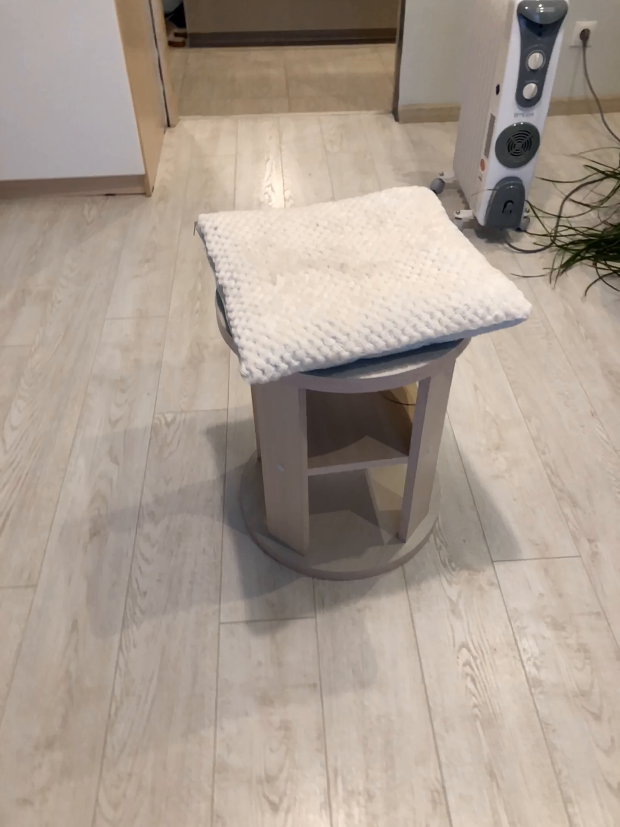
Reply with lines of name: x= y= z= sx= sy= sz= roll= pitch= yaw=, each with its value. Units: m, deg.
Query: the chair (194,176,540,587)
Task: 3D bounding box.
chair: x=0.062 y=-0.037 z=1.108 sx=0.400 sy=0.546 sz=0.383 roll=-1 pitch=44 yaw=-1
